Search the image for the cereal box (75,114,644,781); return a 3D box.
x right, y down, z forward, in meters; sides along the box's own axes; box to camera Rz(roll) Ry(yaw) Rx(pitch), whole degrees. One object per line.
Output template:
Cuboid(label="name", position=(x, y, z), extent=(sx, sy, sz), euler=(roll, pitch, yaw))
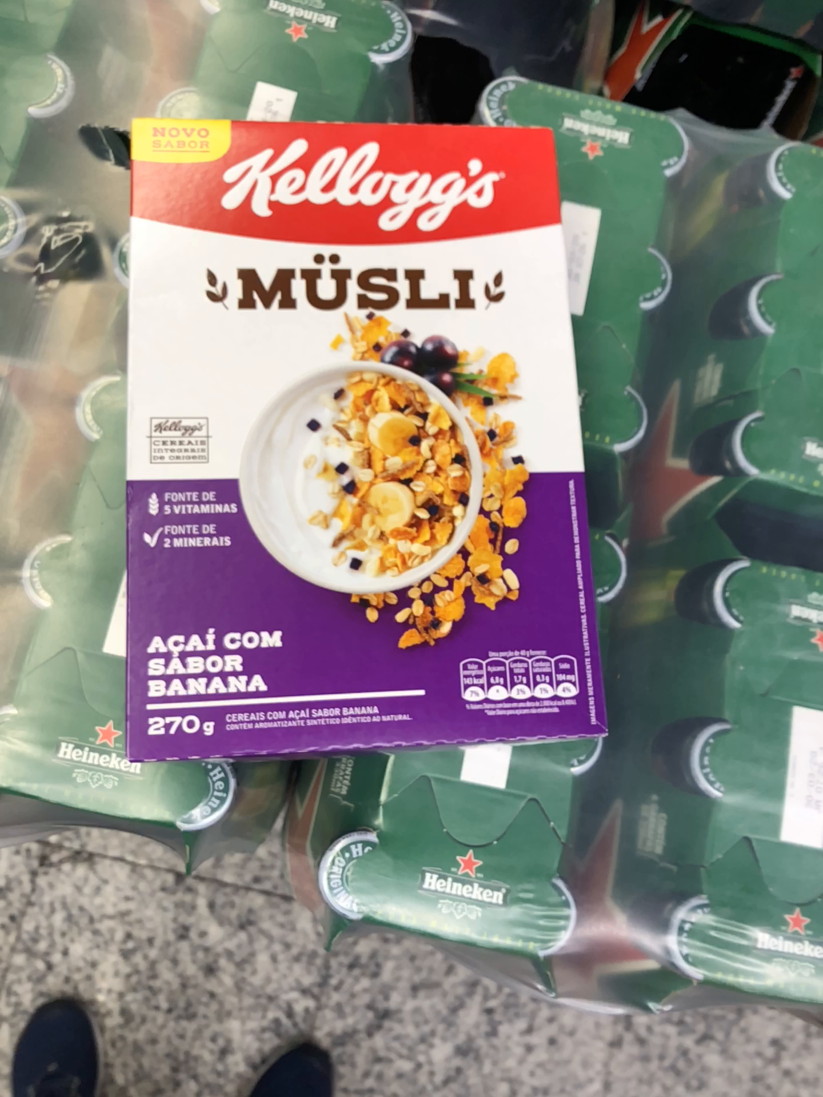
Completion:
Cuboid(label="cereal box", position=(-0.018, -0.033, 0.279), extent=(0.150, 0.040, 0.190), euler=(-2, 79, -7))
